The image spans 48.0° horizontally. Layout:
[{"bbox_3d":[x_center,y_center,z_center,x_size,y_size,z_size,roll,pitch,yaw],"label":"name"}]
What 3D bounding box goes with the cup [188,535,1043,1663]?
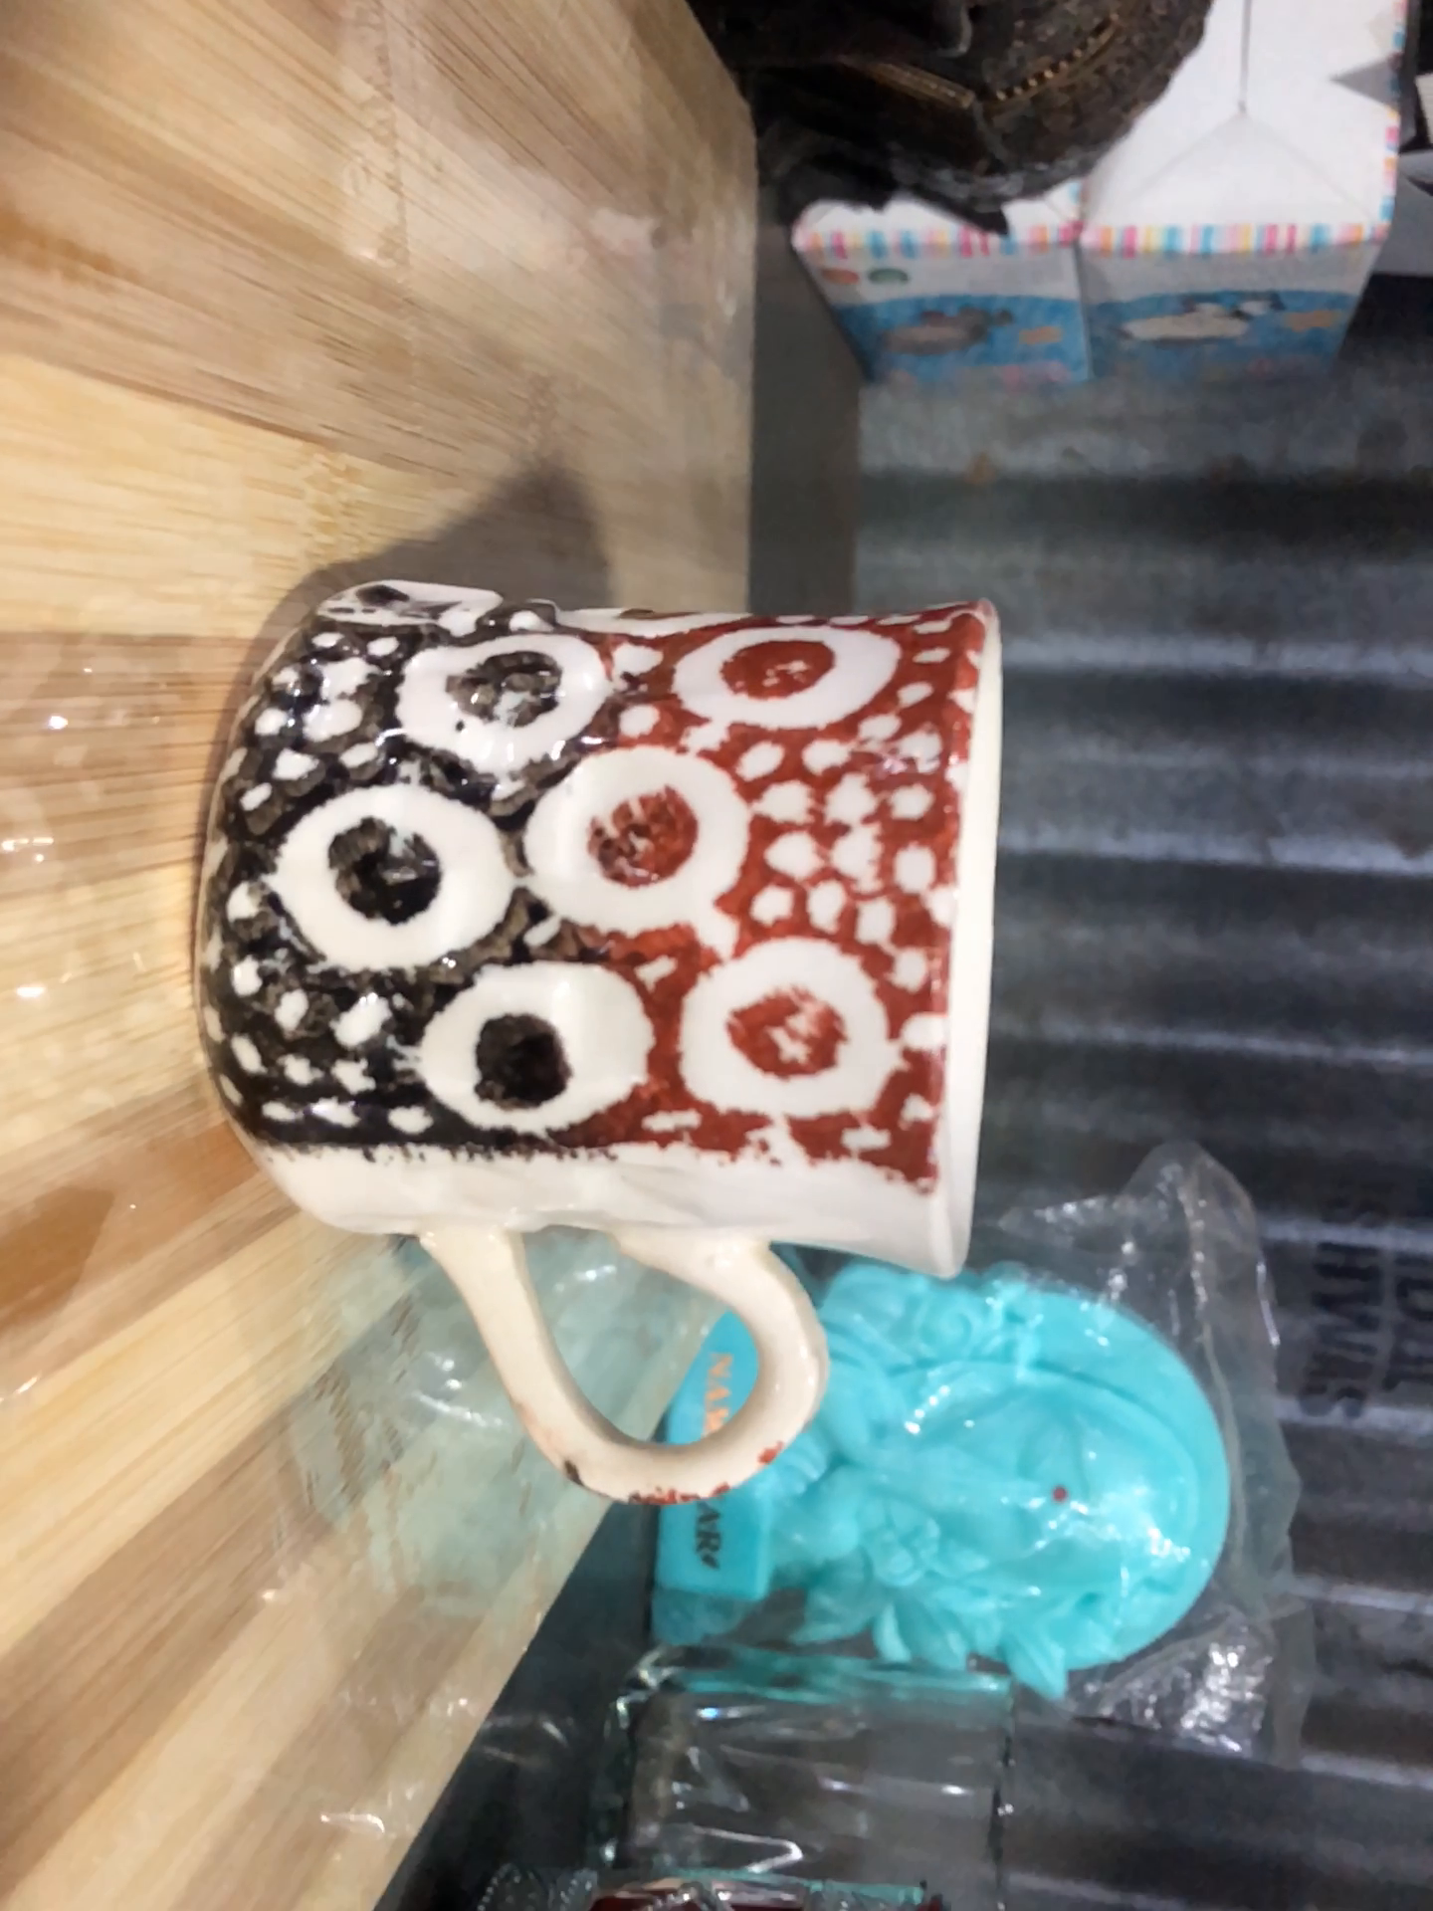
[{"bbox_3d":[-0.005,0.009,0.164,0.060,0.070,0.090,-25,118,-78],"label":"cup"}]
